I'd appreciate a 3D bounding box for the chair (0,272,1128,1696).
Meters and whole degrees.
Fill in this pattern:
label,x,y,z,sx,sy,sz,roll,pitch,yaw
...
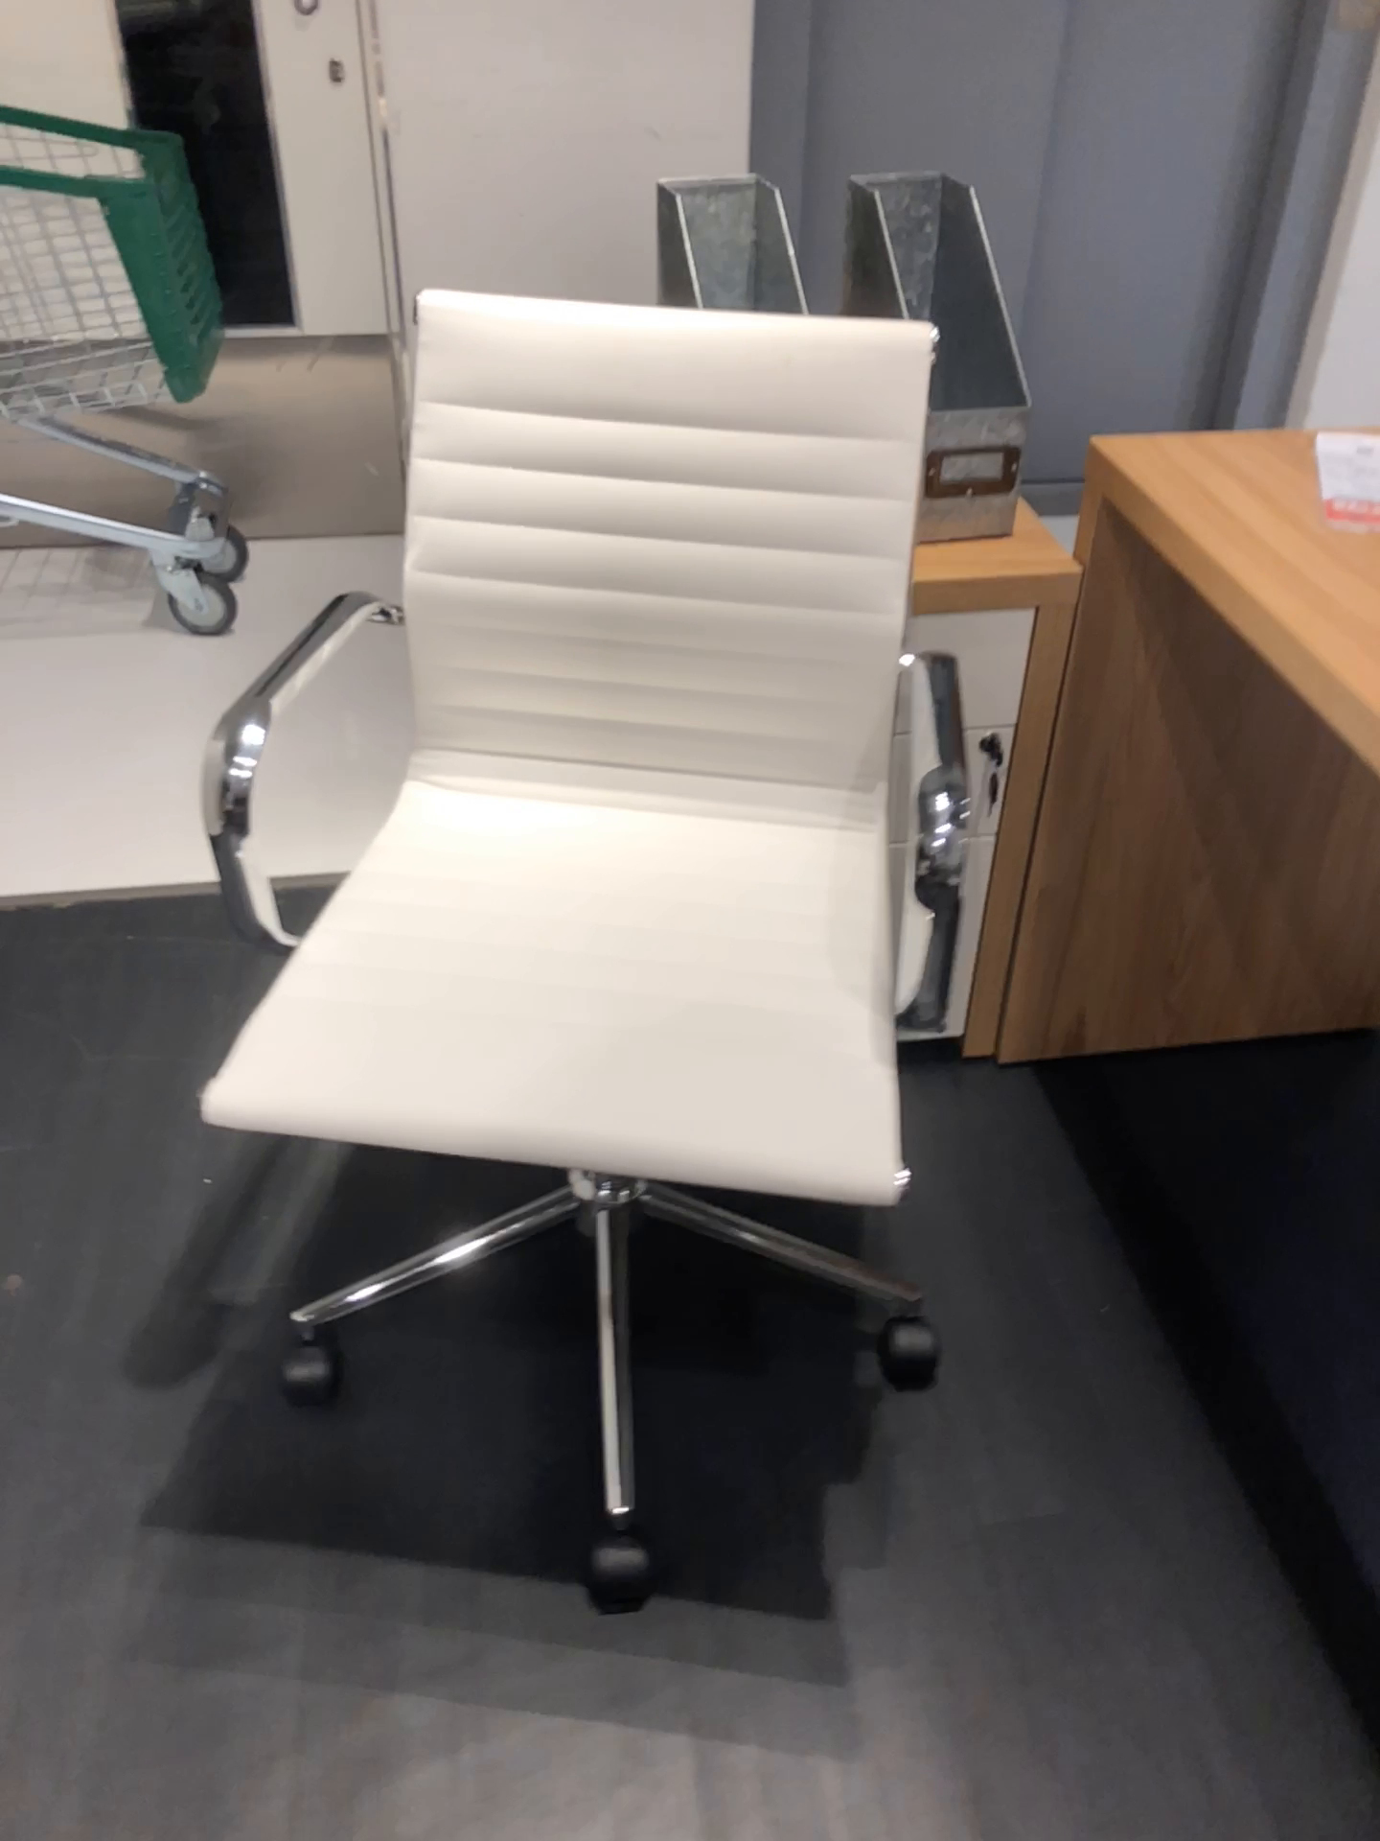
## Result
label,x,y,z,sx,sy,sz,roll,pitch,yaw
chair,-0.039,0.025,1.389,0.650,0.953,0.766,7,36,8
